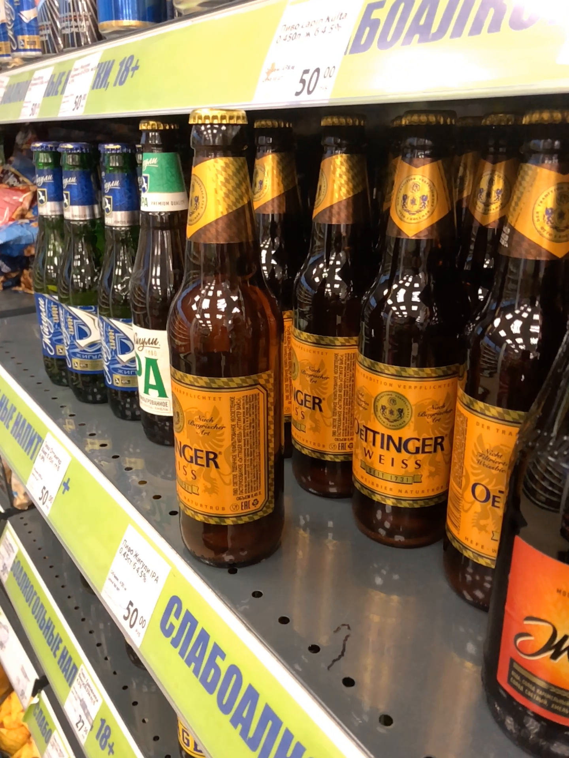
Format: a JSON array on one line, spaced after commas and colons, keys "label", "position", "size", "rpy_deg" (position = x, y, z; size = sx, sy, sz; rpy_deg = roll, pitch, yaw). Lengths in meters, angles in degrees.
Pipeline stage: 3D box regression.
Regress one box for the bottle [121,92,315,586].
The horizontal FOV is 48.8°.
[{"label": "bottle", "position": [-0.032, -0.019, 0.337], "size": [0.070, 0.243, 0.072], "rpy_deg": [-1, 21, 0]}]
